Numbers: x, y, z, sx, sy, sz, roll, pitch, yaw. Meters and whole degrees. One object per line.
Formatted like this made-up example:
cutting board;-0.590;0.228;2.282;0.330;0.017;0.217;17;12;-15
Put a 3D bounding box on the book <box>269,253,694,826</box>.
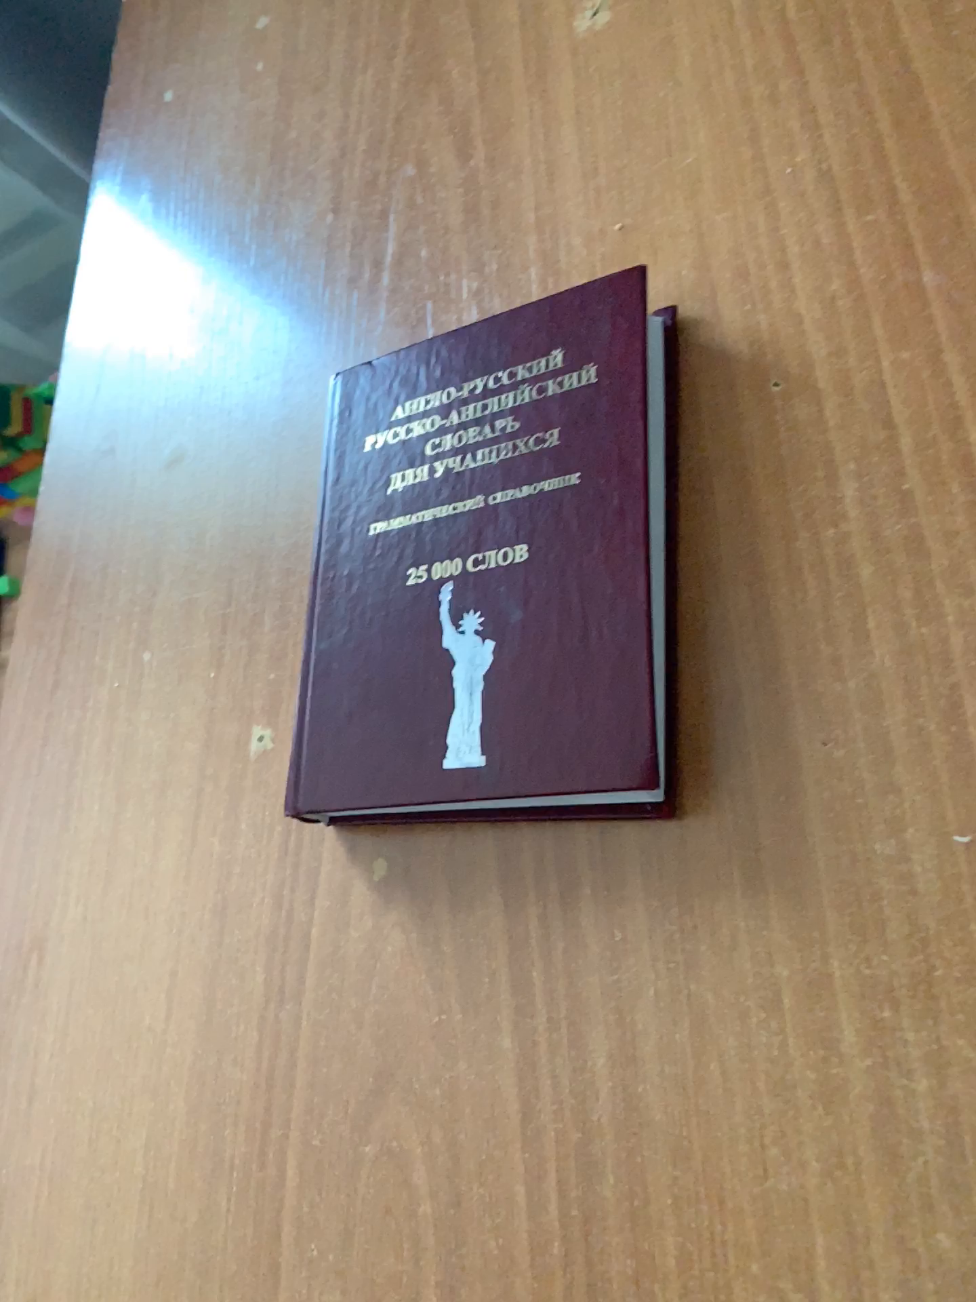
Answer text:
book;-0.004;-0.031;0.326;0.135;0.023;0.166;-9;69;31
